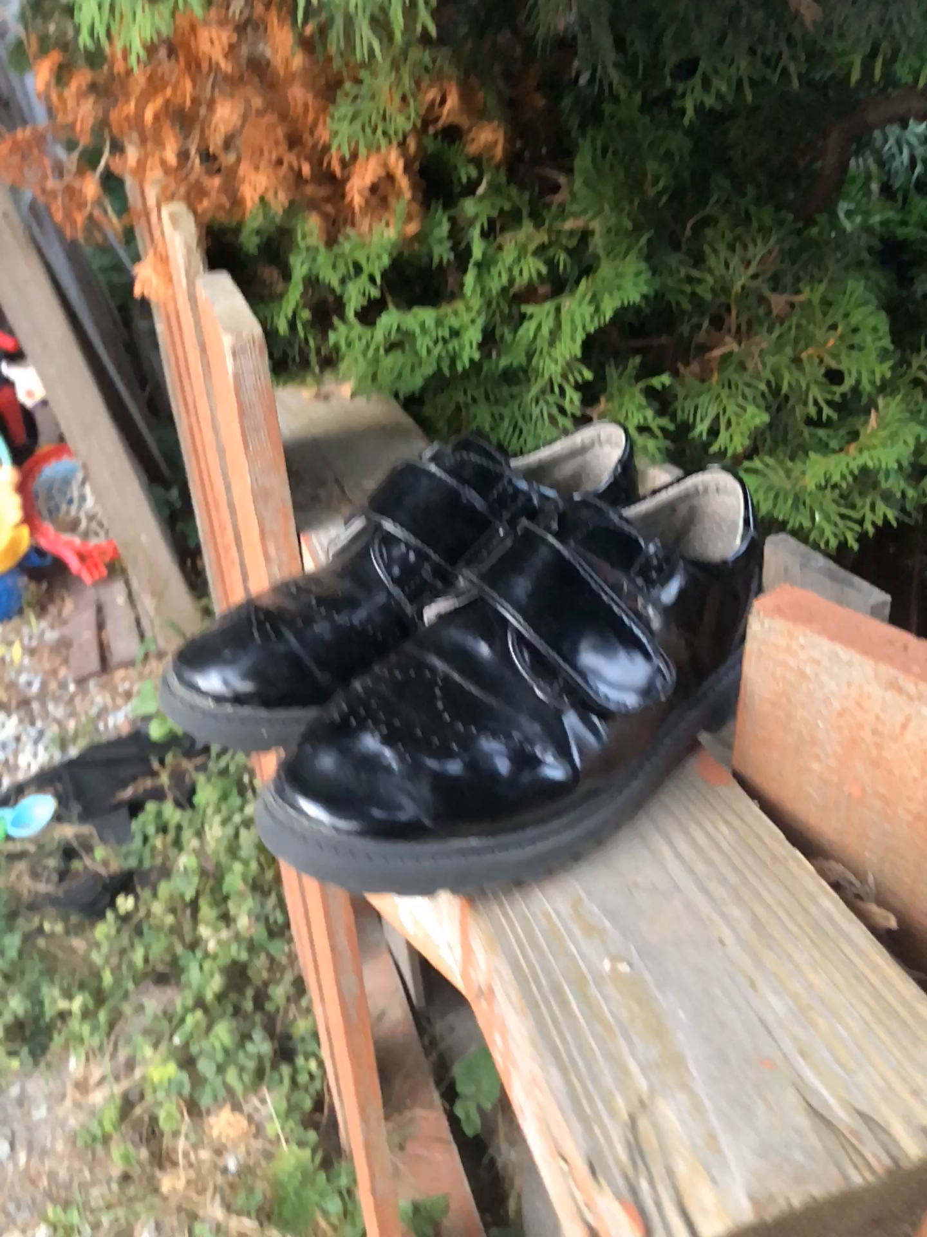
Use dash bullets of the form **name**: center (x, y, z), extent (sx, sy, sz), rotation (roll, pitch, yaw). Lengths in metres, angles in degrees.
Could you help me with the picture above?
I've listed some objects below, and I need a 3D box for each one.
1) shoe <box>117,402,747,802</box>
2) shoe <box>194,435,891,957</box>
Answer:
- **shoe**: center (-0.003, -0.022, 0.419), extent (0.240, 0.070, 0.090), rotation (-20, 34, -32)
- **shoe**: center (0.038, 0.006, 0.351), extent (0.230, 0.070, 0.090), rotation (-22, 36, -35)
